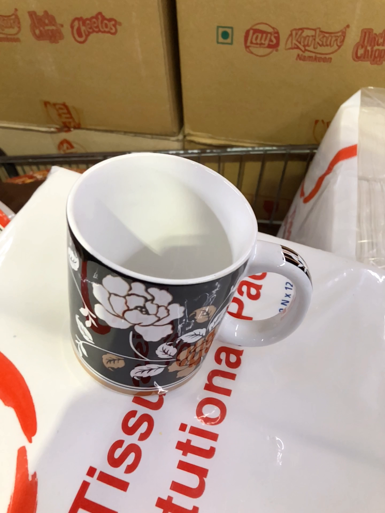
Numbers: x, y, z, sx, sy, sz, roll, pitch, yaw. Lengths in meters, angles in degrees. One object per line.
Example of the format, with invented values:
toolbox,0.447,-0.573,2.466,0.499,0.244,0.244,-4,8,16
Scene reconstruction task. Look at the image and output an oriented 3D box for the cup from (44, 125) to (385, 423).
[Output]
cup,0.009,0.015,0.206,0.130,0.099,0.080,9,49,-7
